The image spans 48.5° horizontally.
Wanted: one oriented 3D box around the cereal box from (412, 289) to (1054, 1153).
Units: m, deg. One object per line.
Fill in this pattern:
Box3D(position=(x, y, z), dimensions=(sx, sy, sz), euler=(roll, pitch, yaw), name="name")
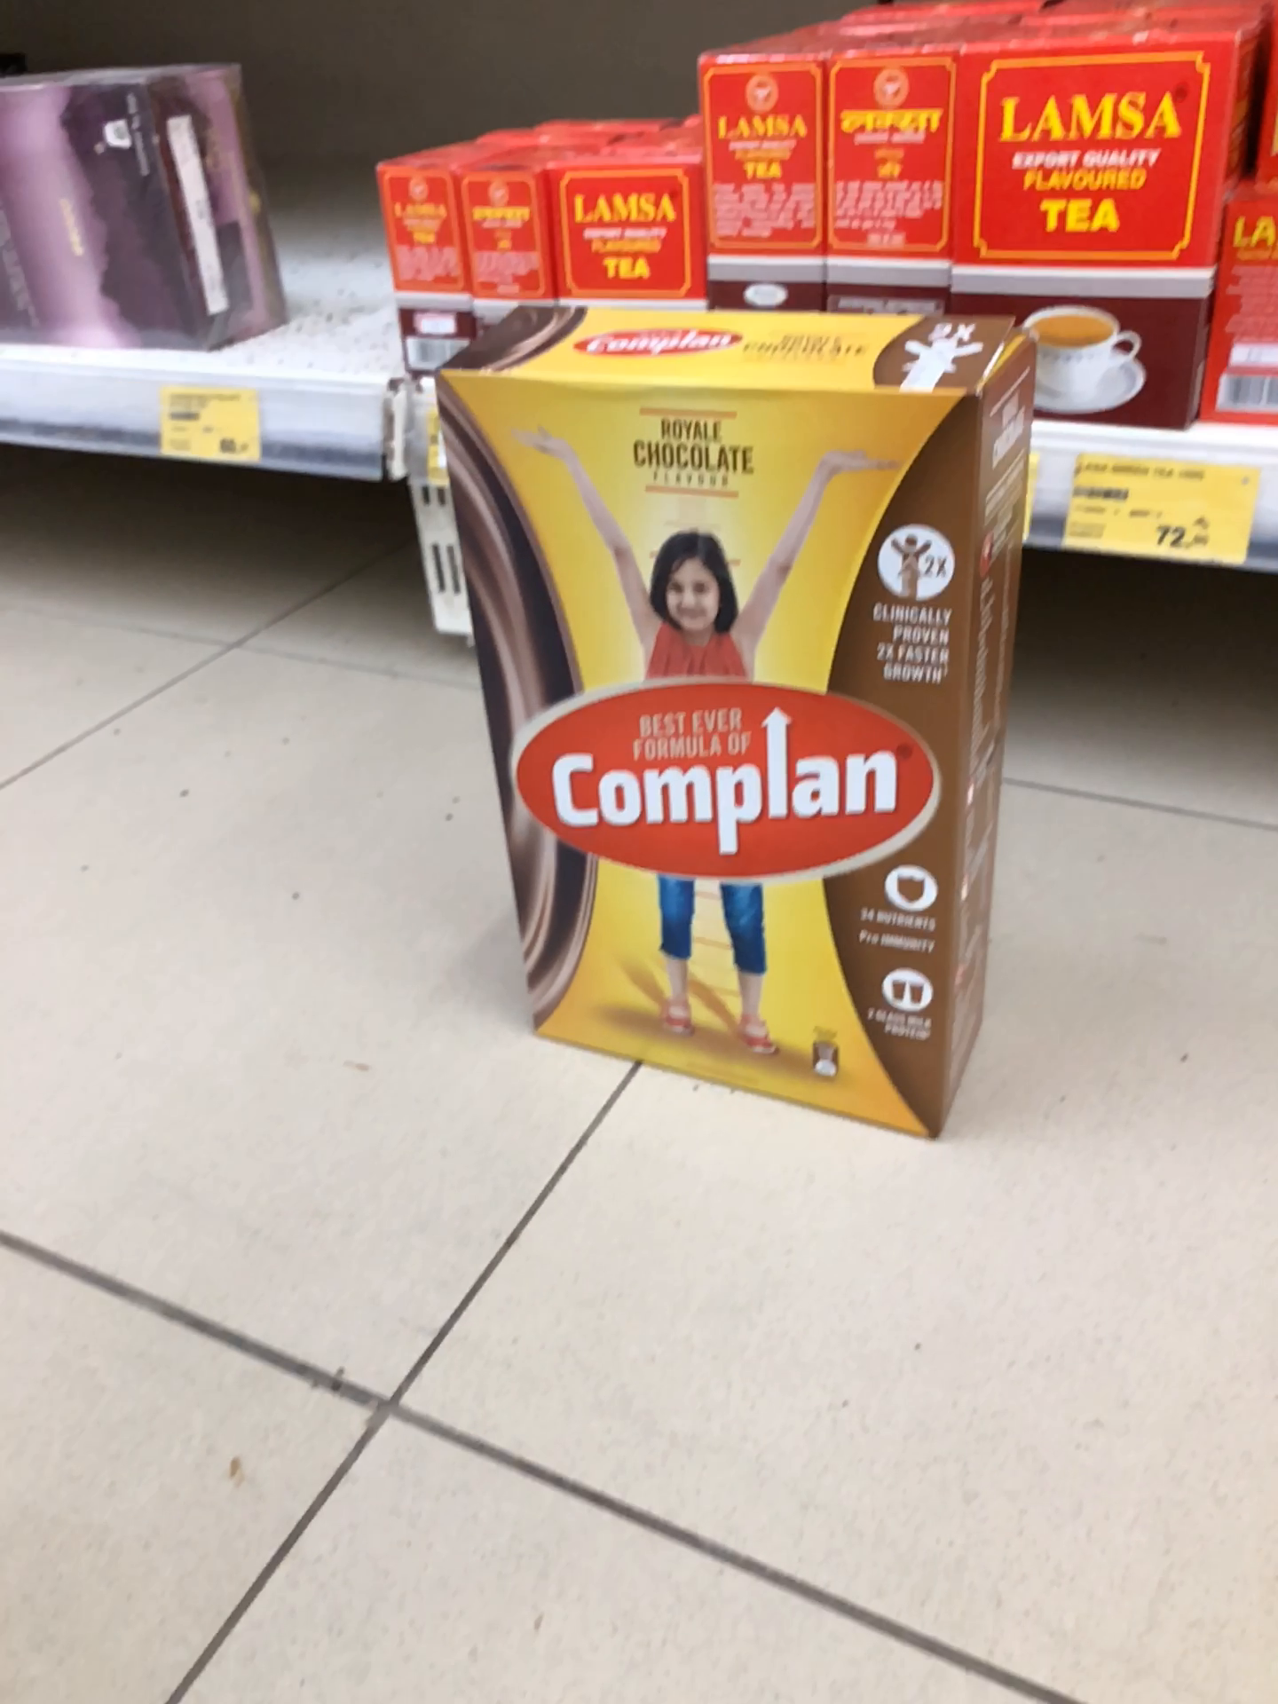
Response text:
Box3D(position=(0.034, -0.039, 0.452), dimensions=(0.160, 0.248, 0.070), euler=(11, 36, 24), name="cereal box")
